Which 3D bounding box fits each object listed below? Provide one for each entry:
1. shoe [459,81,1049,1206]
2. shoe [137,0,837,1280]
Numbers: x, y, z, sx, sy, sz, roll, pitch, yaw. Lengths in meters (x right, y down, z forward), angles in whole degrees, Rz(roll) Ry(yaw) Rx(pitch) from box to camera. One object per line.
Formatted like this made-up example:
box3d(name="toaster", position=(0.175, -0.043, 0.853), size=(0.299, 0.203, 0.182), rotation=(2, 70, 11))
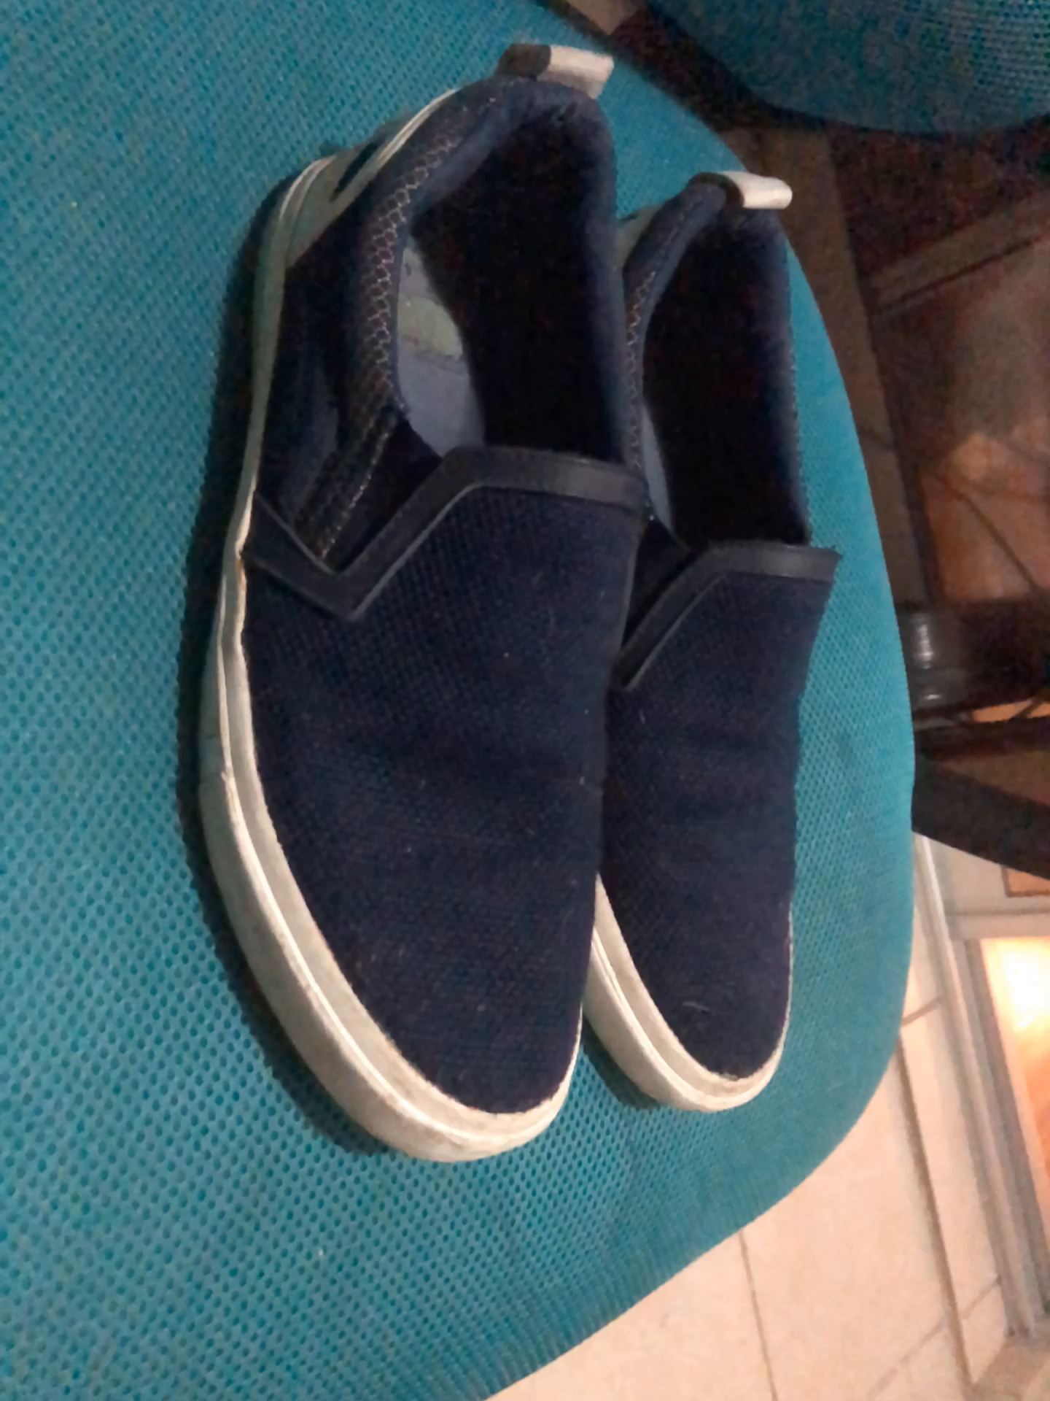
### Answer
box3d(name="shoe", position=(0.074, -0.014, 0.374), size=(0.121, 0.109, 0.290), rotation=(1, 80, -44))
box3d(name="shoe", position=(-0.016, -0.032, 0.301), size=(0.121, 0.109, 0.290), rotation=(4, 77, -43))
